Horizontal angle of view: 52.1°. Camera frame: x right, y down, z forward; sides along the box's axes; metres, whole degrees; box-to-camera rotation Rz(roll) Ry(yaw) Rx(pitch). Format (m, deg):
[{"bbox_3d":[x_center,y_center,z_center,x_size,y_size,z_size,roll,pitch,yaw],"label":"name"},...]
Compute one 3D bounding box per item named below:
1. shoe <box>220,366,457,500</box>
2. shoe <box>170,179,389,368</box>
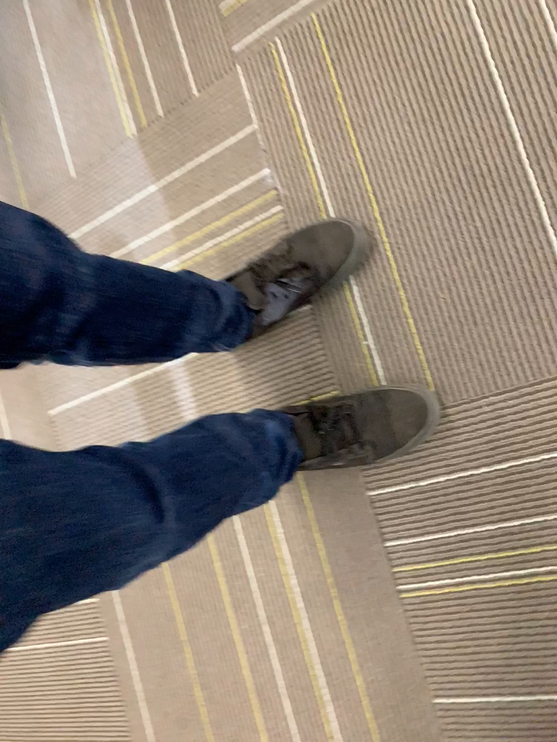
[{"bbox_3d":[0.080,0.089,0.802,0.292,0.113,0.109,-19,84,28],"label":"shoe"},{"bbox_3d":[-0.003,-0.129,0.836,0.292,0.113,0.109,-35,77,25],"label":"shoe"}]
